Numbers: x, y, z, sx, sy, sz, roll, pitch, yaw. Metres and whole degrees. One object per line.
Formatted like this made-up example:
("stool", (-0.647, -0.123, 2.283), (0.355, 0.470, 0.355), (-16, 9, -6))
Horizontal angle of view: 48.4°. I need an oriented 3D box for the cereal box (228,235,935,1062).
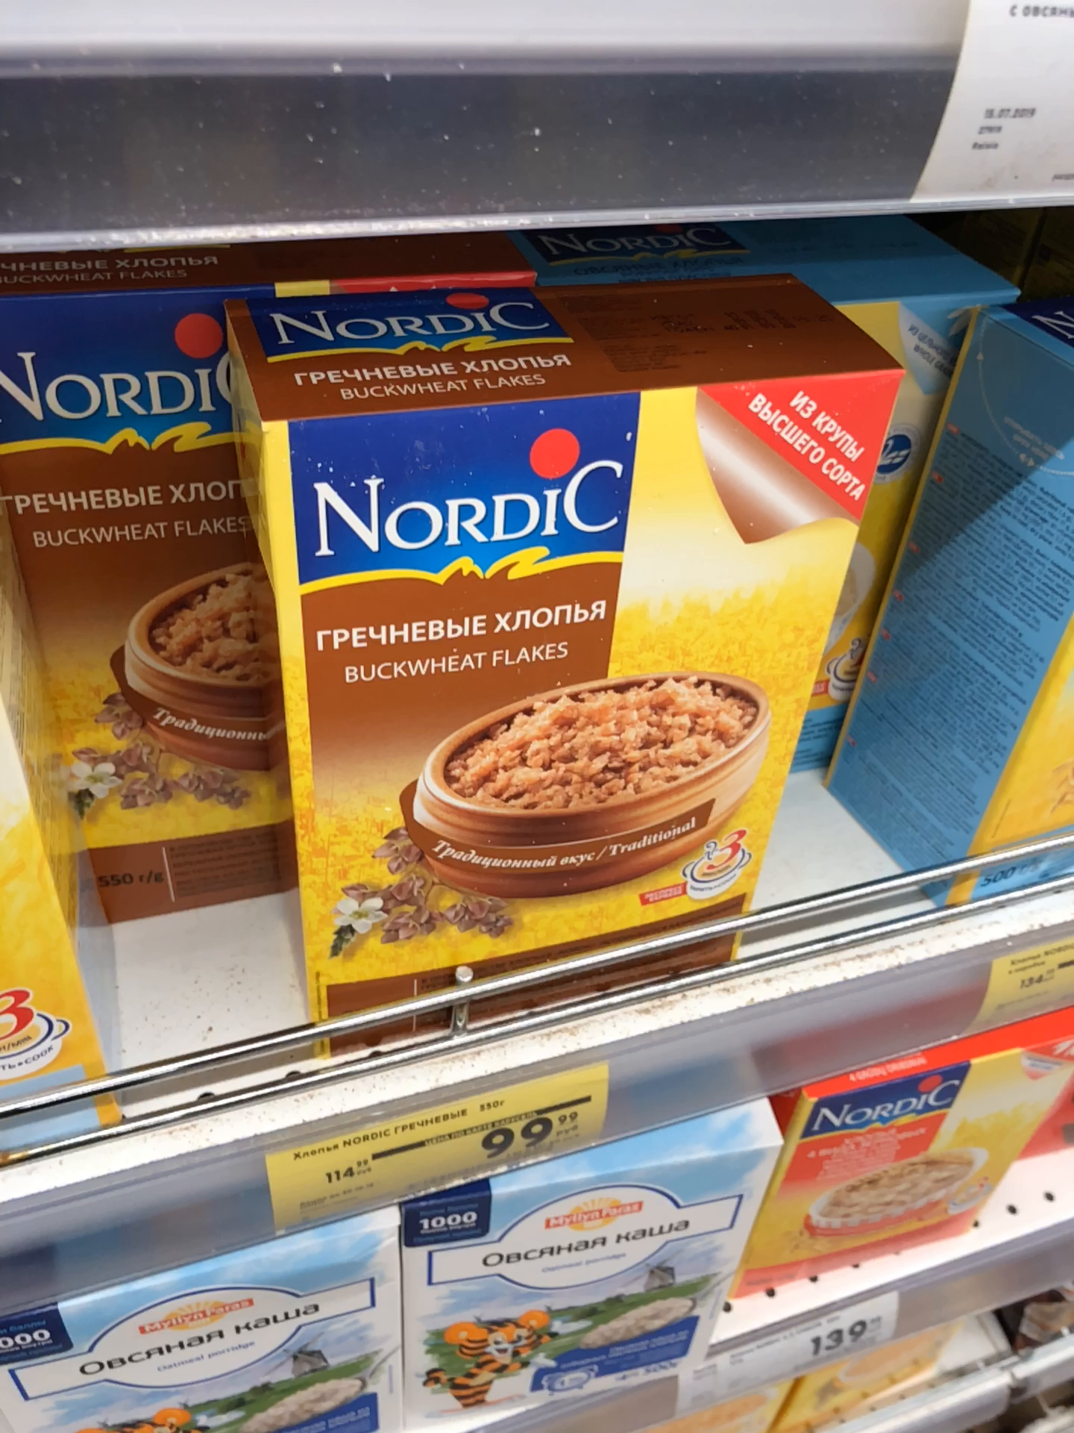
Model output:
("cereal box", (0.001, -0.011, 0.330), (0.140, 0.209, 0.070), (-9, 43, -16))
